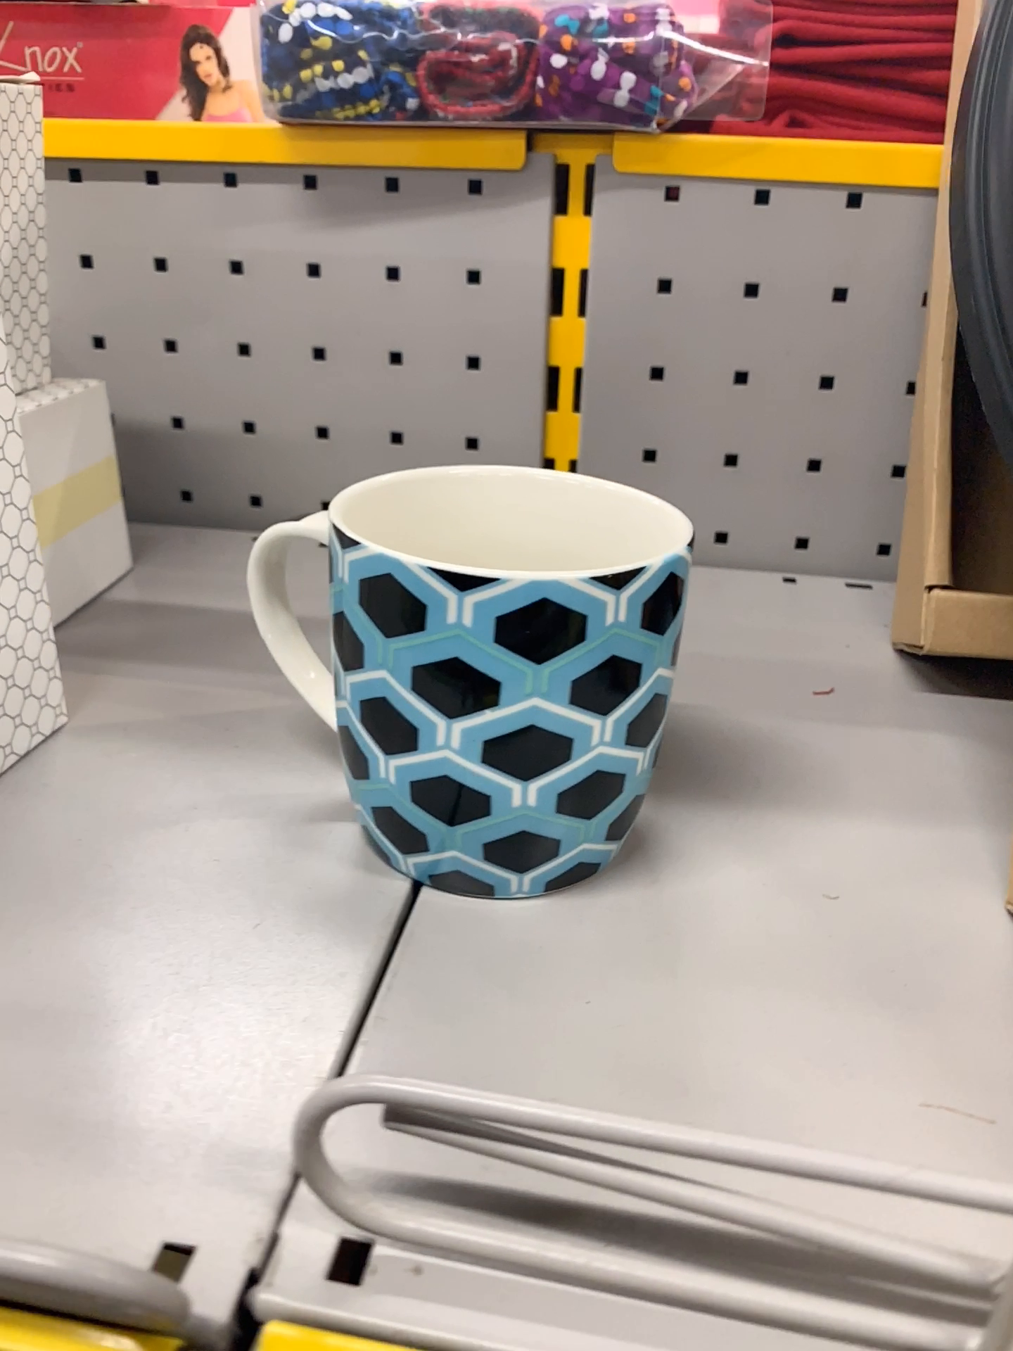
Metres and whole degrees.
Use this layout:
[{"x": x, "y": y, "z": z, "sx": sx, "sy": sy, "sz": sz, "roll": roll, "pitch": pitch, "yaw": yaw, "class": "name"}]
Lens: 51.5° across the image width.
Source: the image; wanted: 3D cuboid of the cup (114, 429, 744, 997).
[{"x": -0.017, "y": -0.002, "z": 0.269, "sx": 0.120, "sy": 0.090, "sz": 0.090, "roll": 15, "pitch": 29, "yaw": 26, "class": "cup"}]
